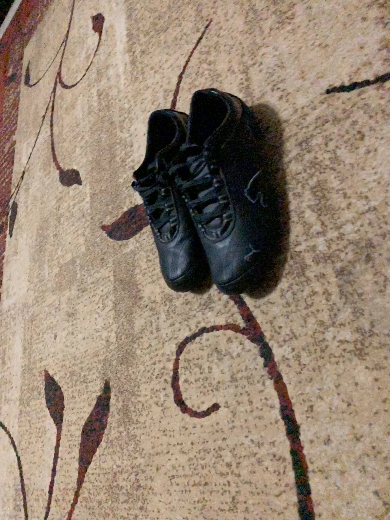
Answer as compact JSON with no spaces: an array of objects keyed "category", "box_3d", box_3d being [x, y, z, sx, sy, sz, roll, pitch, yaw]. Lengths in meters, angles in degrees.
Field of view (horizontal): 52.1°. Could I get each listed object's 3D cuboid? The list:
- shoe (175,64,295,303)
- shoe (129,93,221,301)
[{"category":"shoe","box_3d":[0.038,-0.084,0.453,0.088,0.073,0.244,-23,61,41]},{"category":"shoe","box_3d":[-0.024,-0.078,0.521,0.086,0.073,0.244,-17,65,43]}]
